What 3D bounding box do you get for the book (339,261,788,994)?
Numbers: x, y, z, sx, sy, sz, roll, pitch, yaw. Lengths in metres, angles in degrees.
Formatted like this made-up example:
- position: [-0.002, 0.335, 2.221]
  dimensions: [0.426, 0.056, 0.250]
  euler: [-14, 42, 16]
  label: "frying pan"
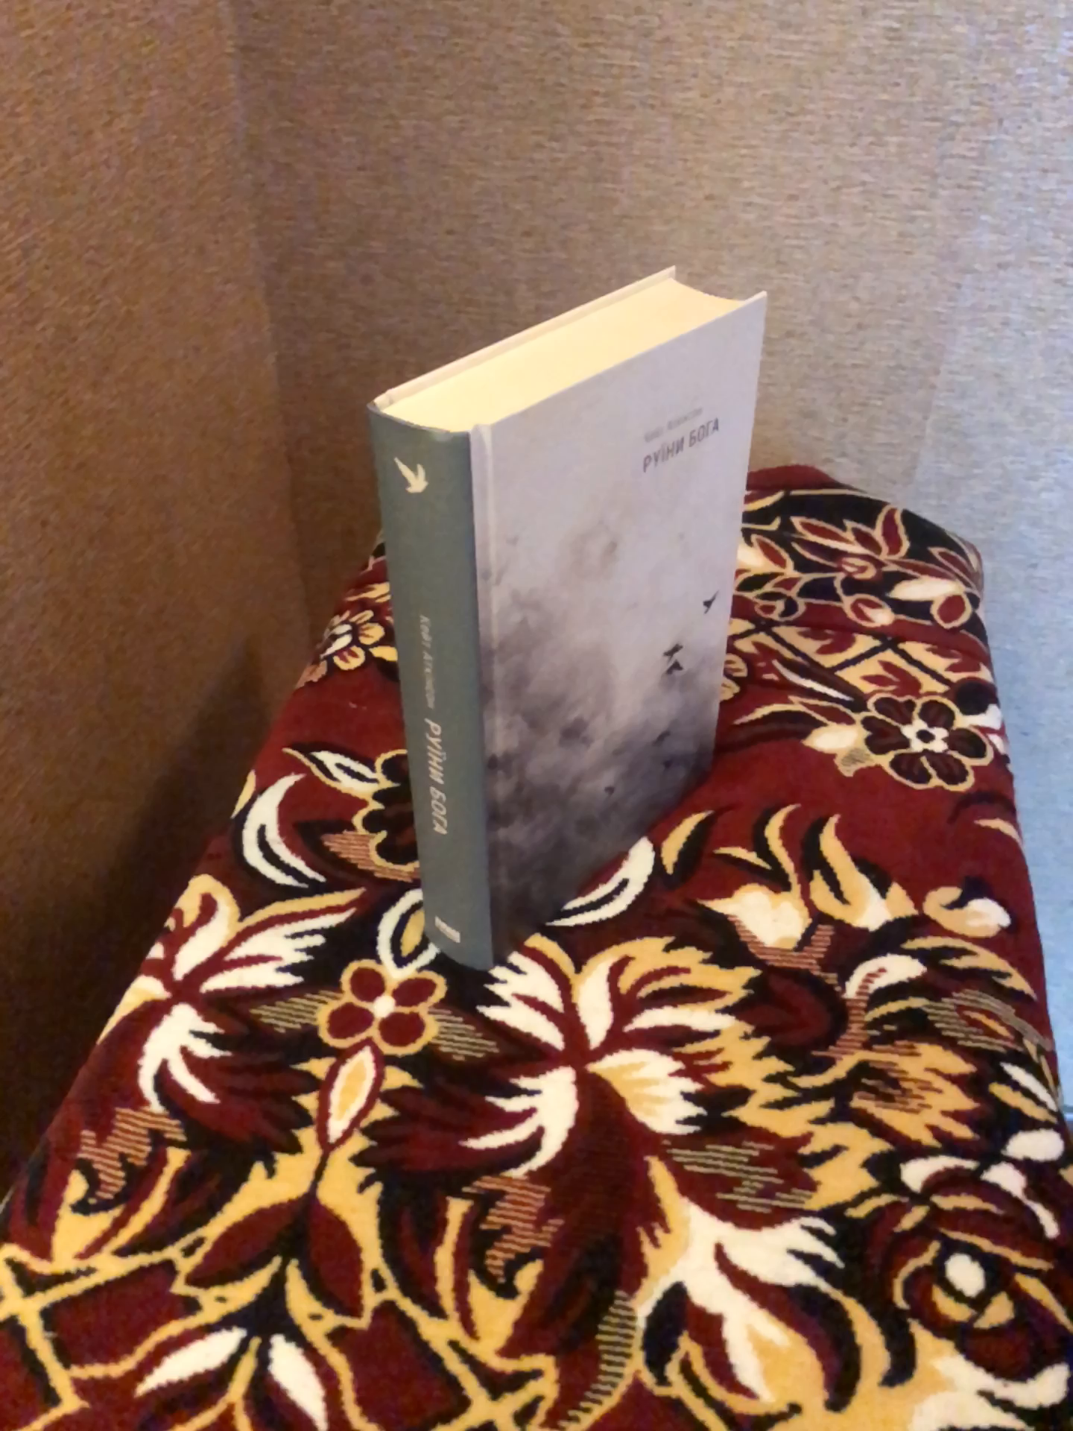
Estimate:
- position: [0.012, -0.028, 0.395]
  dimensions: [0.048, 0.200, 0.145]
  euler: [28, 45, 29]
  label: "book"
